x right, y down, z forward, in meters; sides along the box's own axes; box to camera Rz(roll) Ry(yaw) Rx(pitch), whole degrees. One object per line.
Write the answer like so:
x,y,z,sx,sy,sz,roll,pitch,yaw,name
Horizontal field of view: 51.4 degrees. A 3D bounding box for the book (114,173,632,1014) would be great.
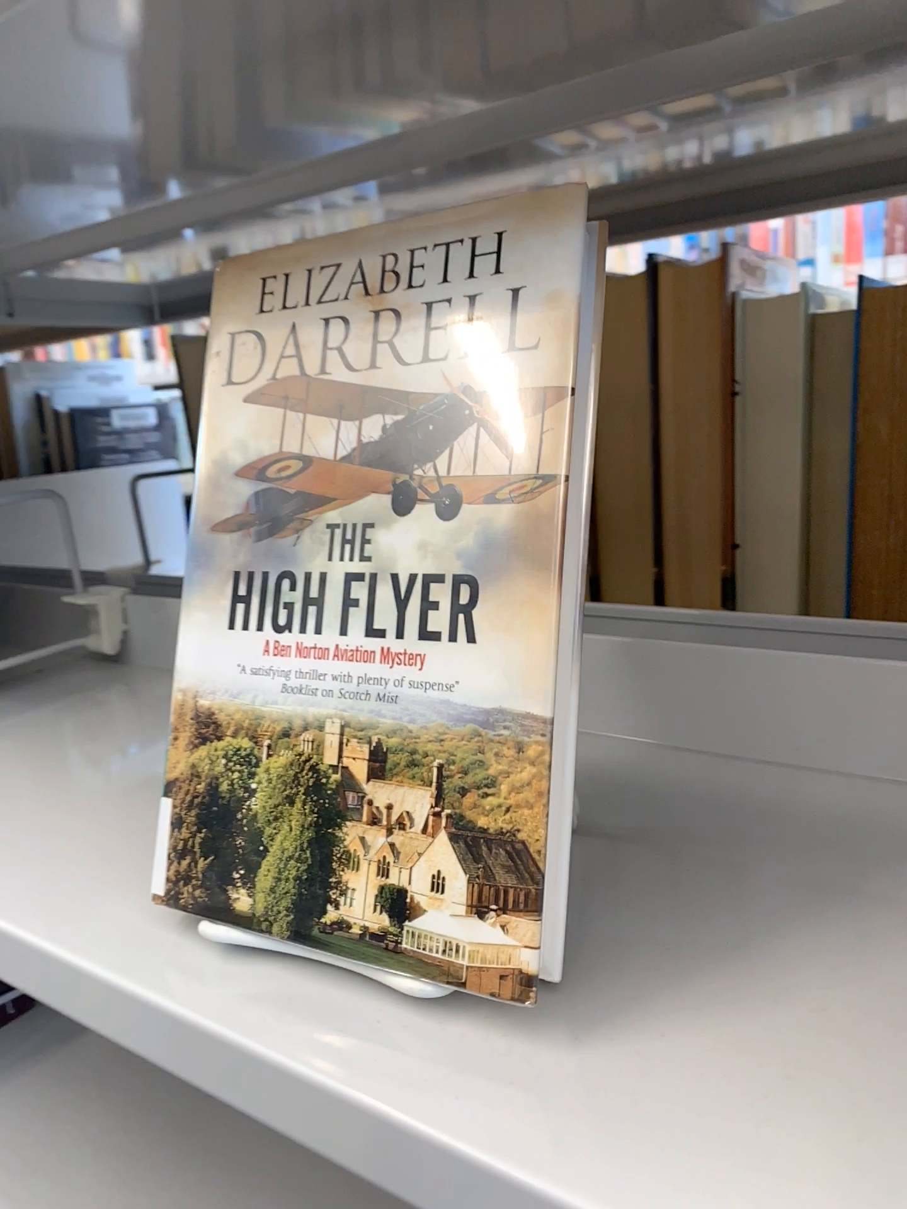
-0.029,-0.008,0.289,0.151,0.215,0.031,2,-4,29,book
